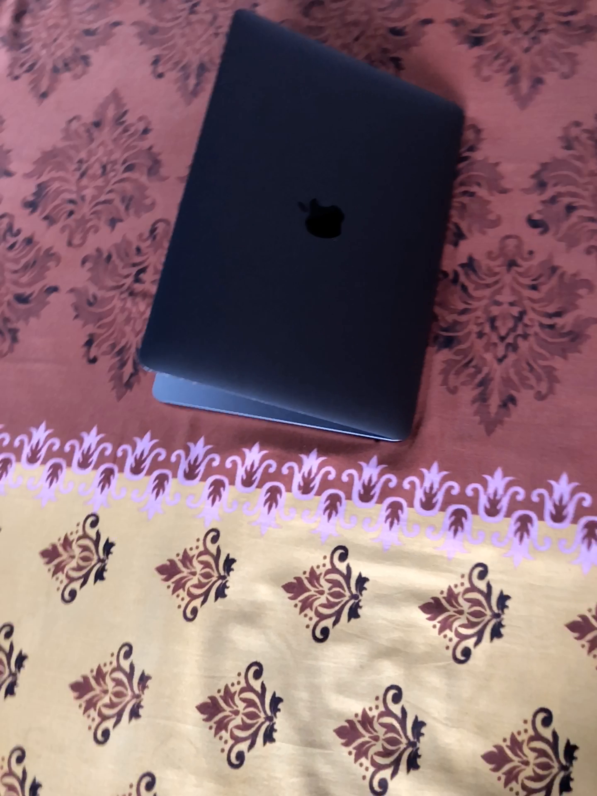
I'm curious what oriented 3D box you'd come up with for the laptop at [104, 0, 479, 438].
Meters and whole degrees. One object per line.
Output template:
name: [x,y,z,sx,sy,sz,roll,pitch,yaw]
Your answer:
laptop: [0.007,-0.137,0.495,0.204,0.093,0.286,10,75,9]
